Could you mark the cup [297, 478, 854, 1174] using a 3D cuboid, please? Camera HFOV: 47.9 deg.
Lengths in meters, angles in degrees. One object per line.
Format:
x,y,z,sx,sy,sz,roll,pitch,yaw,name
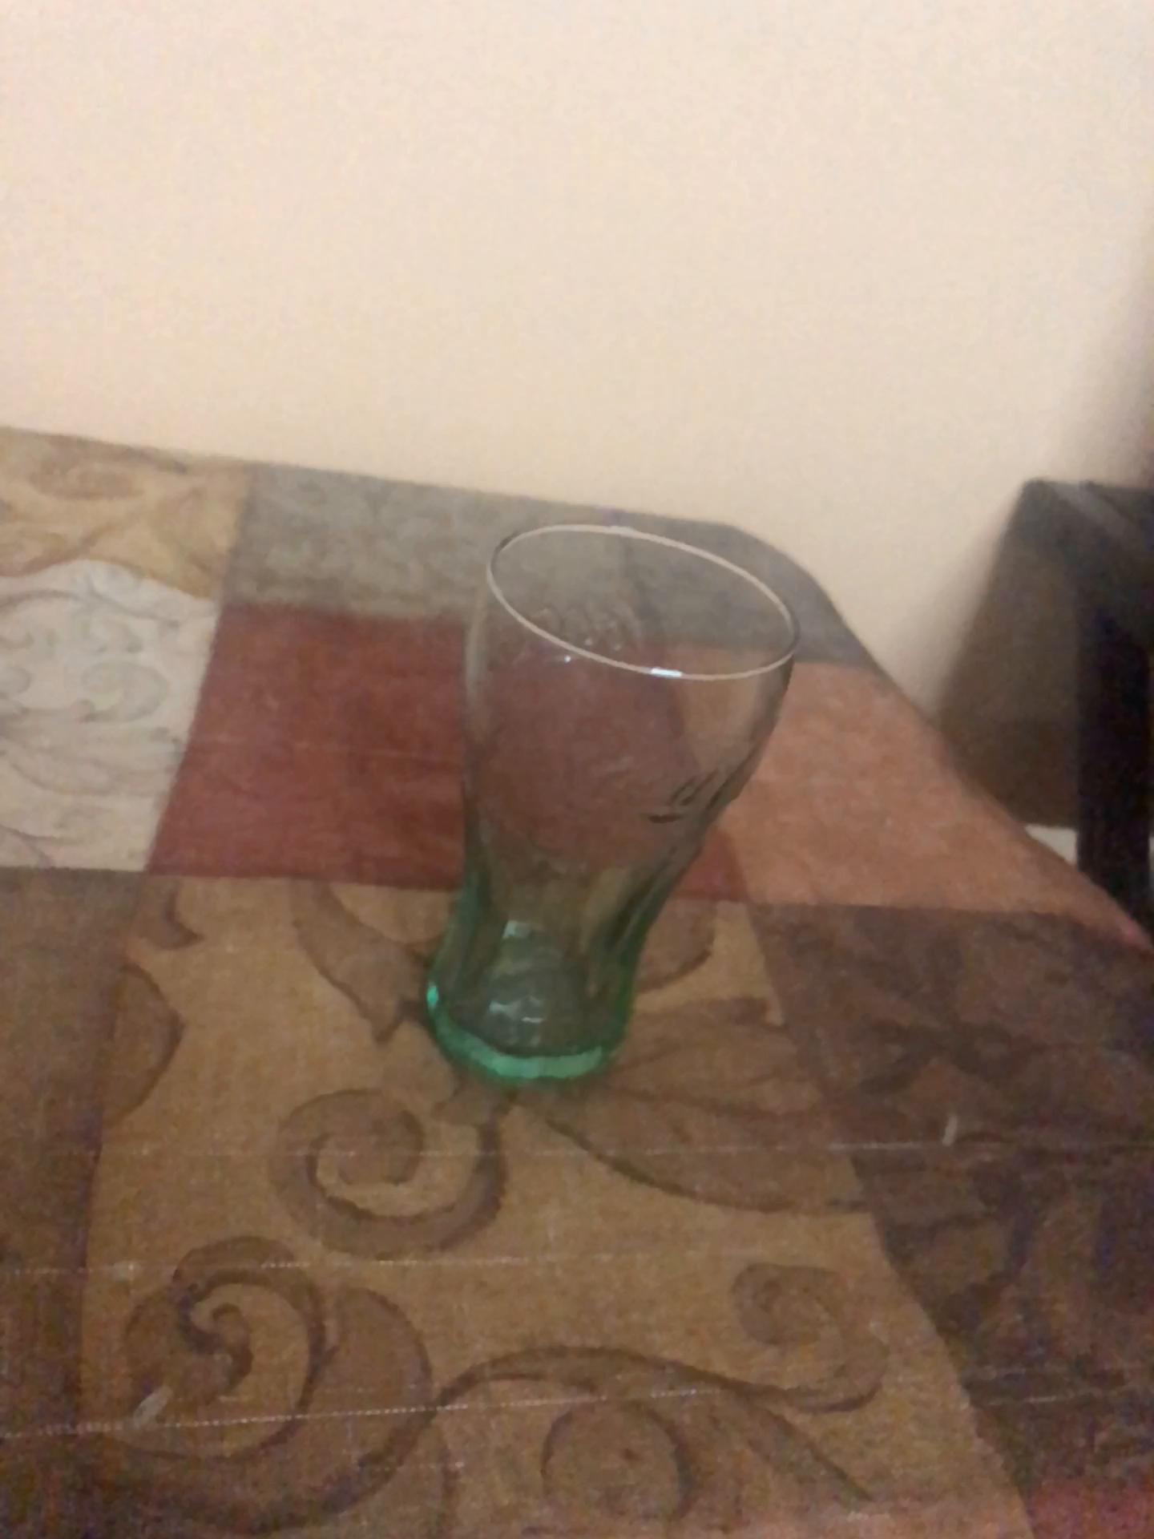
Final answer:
-0.003,0.009,0.275,0.070,0.110,0.070,11,30,-7,cup
